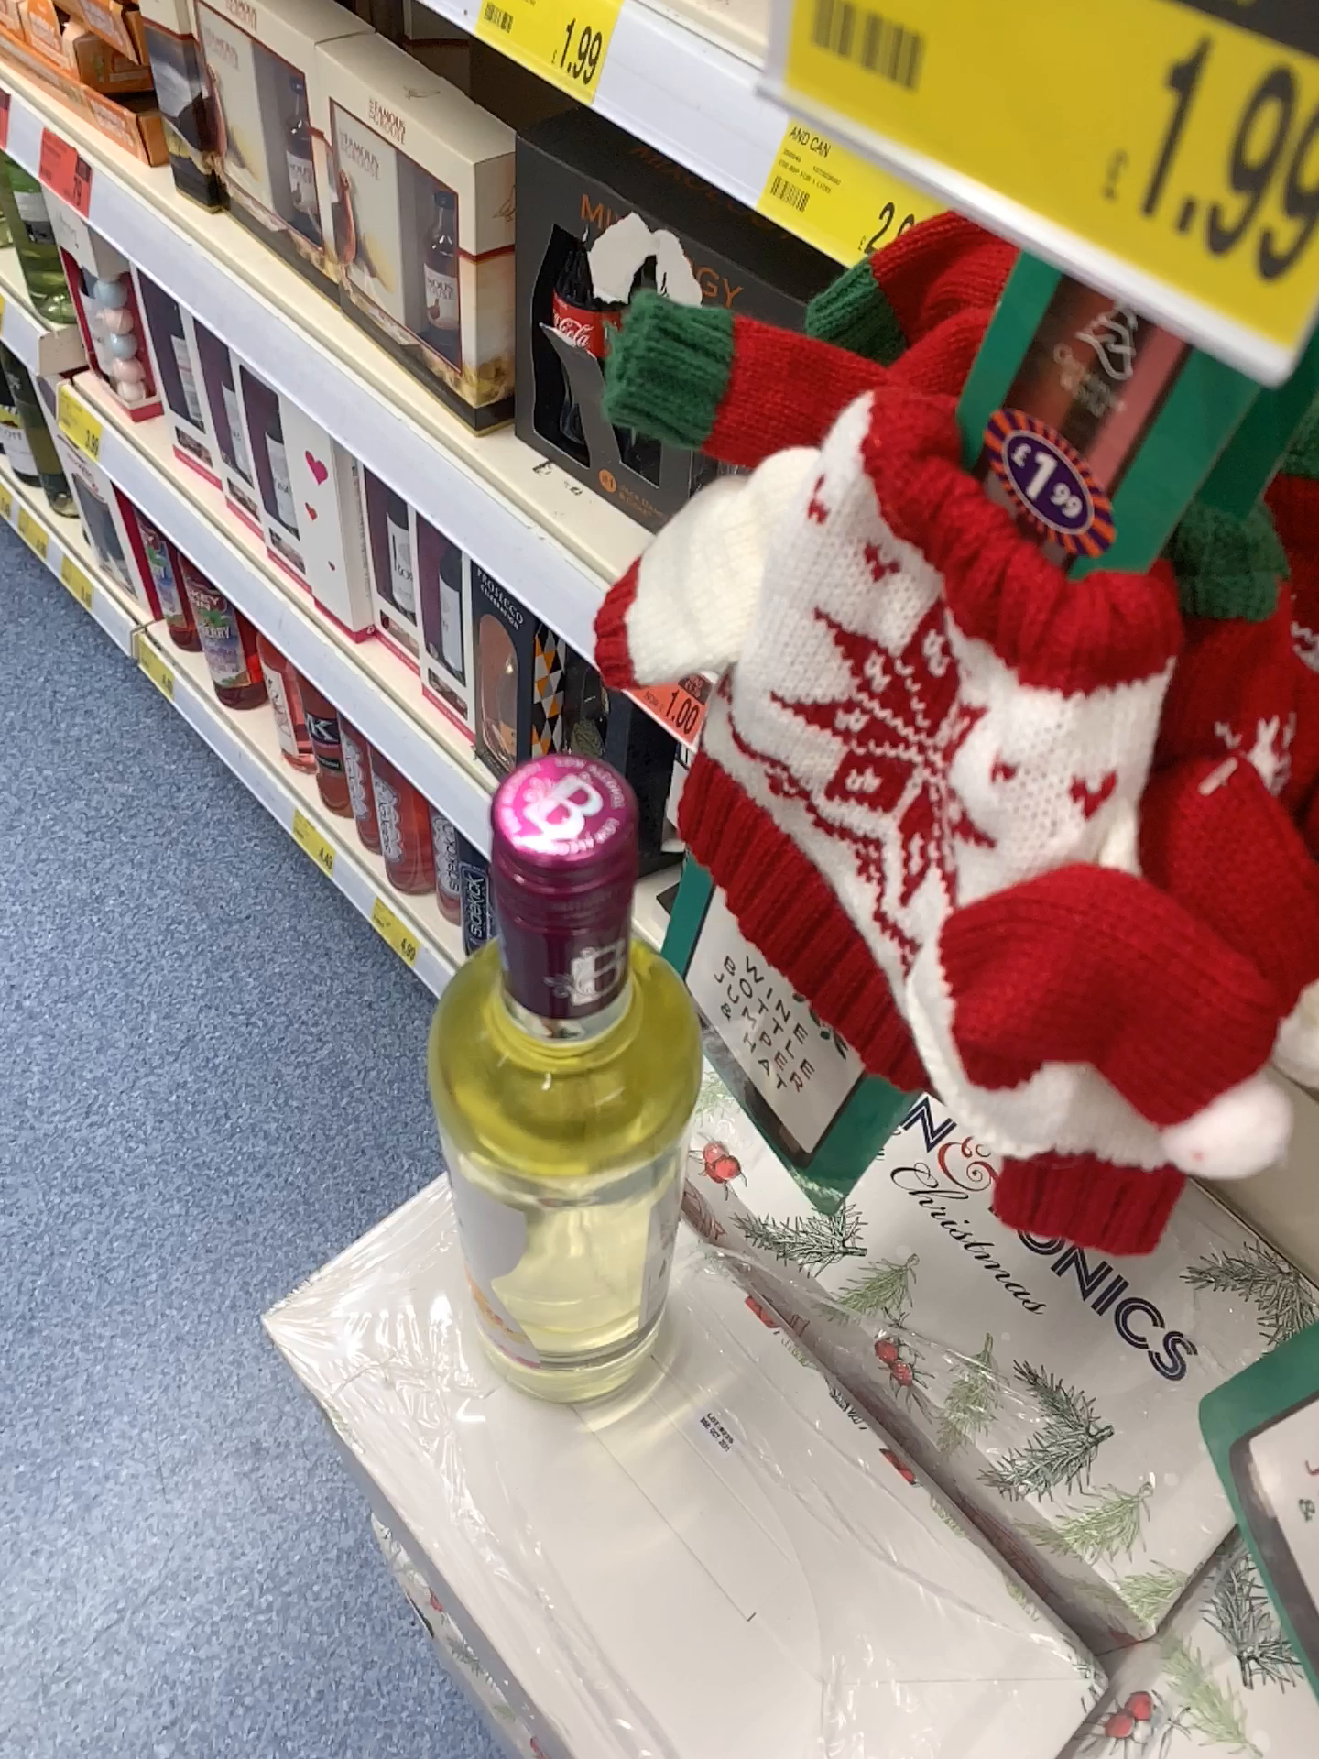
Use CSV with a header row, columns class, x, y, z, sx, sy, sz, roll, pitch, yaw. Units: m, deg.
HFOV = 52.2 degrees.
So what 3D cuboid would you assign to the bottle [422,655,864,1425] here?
class,x,y,z,sx,sy,sz,roll,pitch,yaw
bottle,-0.018,0.070,0.383,0.080,0.288,0.082,3,53,-4
